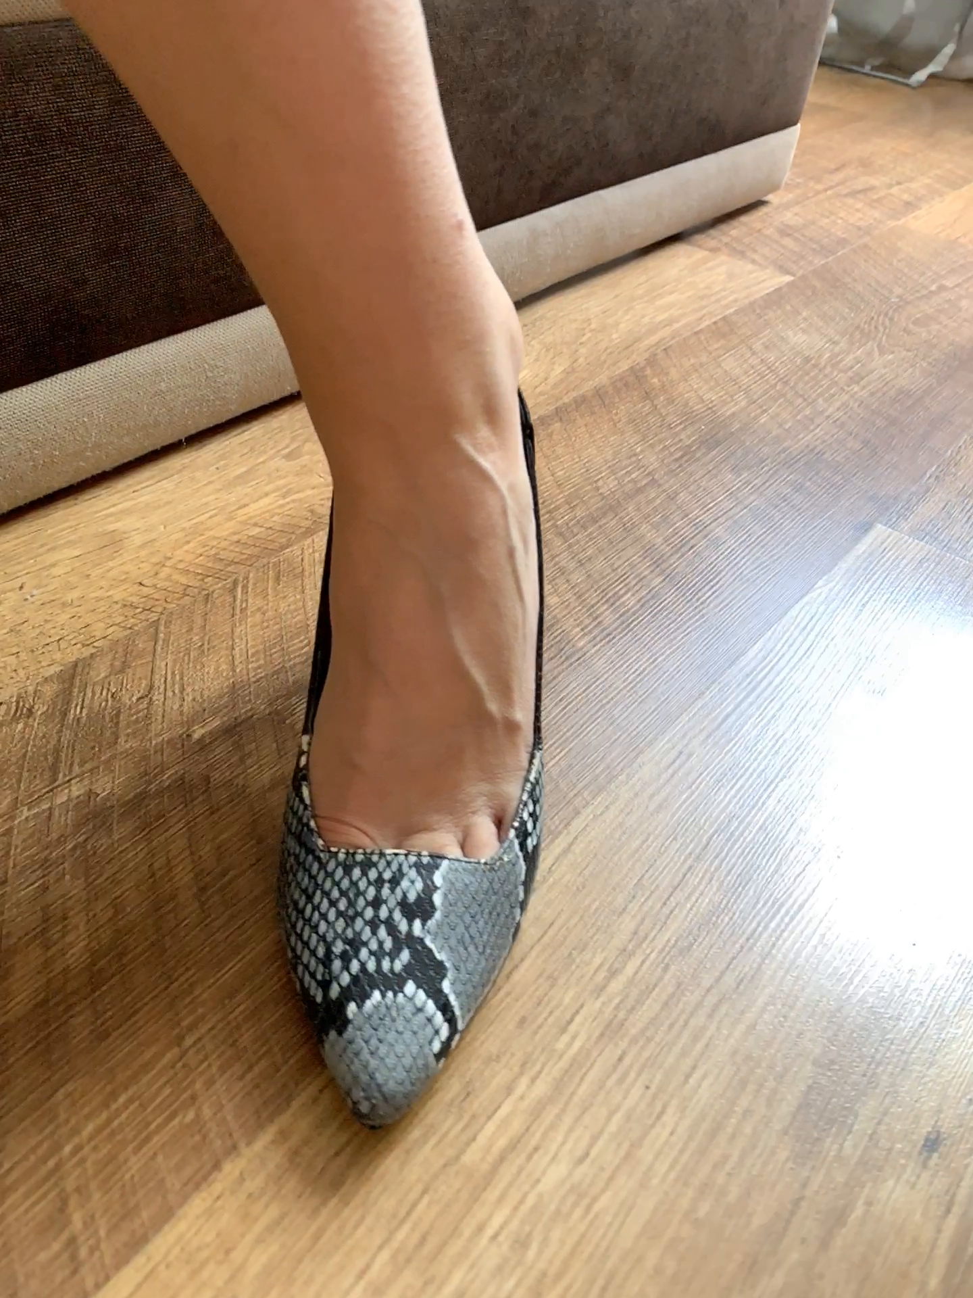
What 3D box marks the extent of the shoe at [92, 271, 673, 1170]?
[{"bbox_3d":[-0.022,-0.006,0.287,0.090,0.109,0.251,2,40,-3],"label":"shoe"}]
